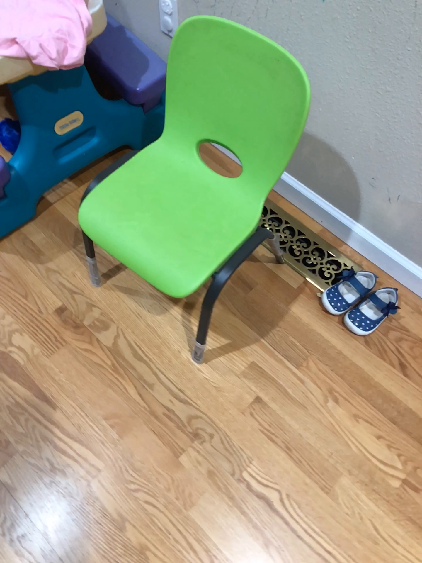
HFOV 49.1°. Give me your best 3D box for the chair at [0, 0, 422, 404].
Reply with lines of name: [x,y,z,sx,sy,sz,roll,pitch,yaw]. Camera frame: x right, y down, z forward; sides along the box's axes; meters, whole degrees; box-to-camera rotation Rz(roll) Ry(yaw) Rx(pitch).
chair: [-0.012,-0.169,0.951,0.511,0.558,0.481,36,66,17]
